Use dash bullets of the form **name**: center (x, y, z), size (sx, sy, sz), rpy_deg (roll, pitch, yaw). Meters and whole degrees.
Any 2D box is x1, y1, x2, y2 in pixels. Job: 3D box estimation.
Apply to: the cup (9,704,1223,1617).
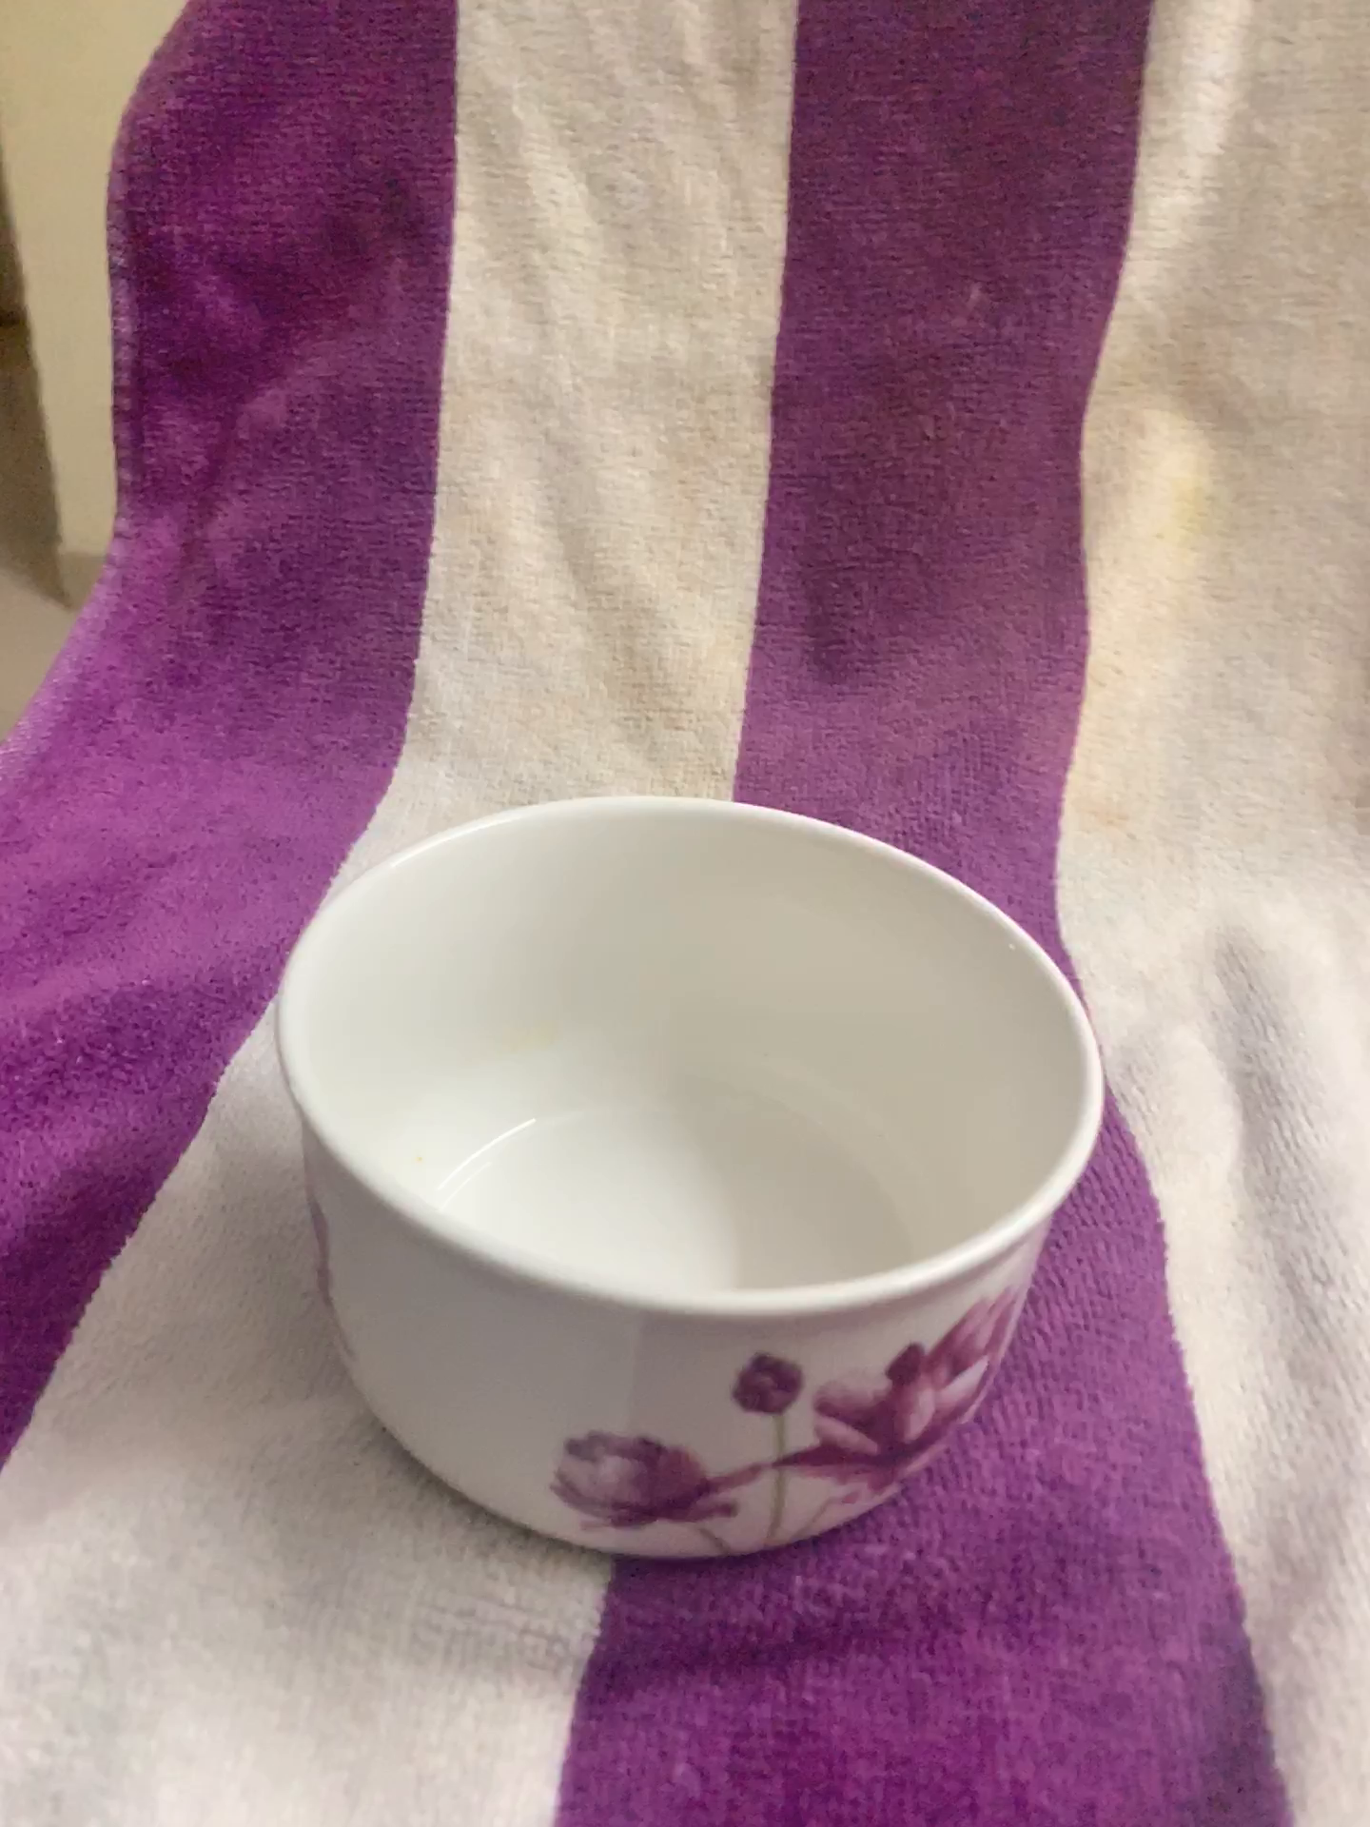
- **cup**: center (-0.005, 0.023, 0.184), size (0.110, 0.050, 0.101), rpy_deg (4, 34, -2)
